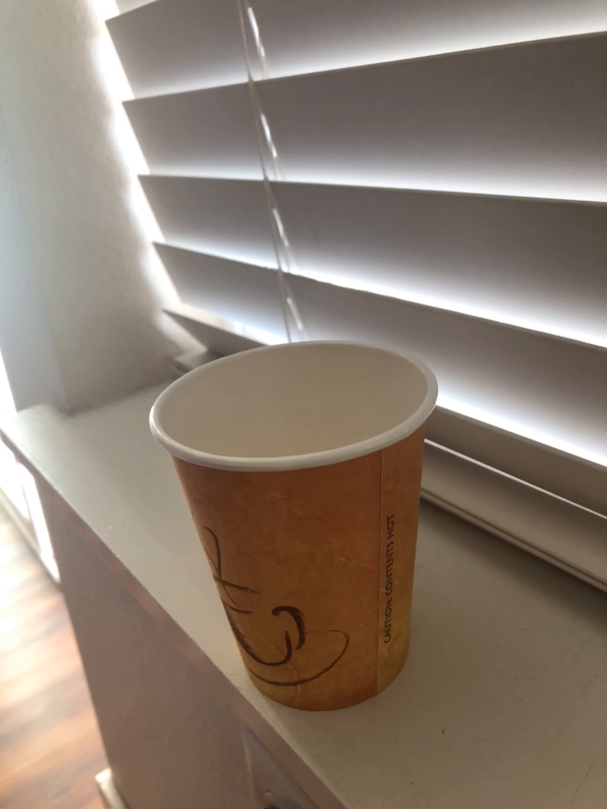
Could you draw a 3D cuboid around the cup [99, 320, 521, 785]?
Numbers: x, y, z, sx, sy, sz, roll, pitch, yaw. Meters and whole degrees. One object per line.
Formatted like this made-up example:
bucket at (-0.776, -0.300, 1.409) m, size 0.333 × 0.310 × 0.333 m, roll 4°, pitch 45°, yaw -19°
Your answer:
cup at (0.002, 0.036, 0.228) m, size 0.093 × 0.088 × 0.096 m, roll -5°, pitch 25°, yaw 2°
